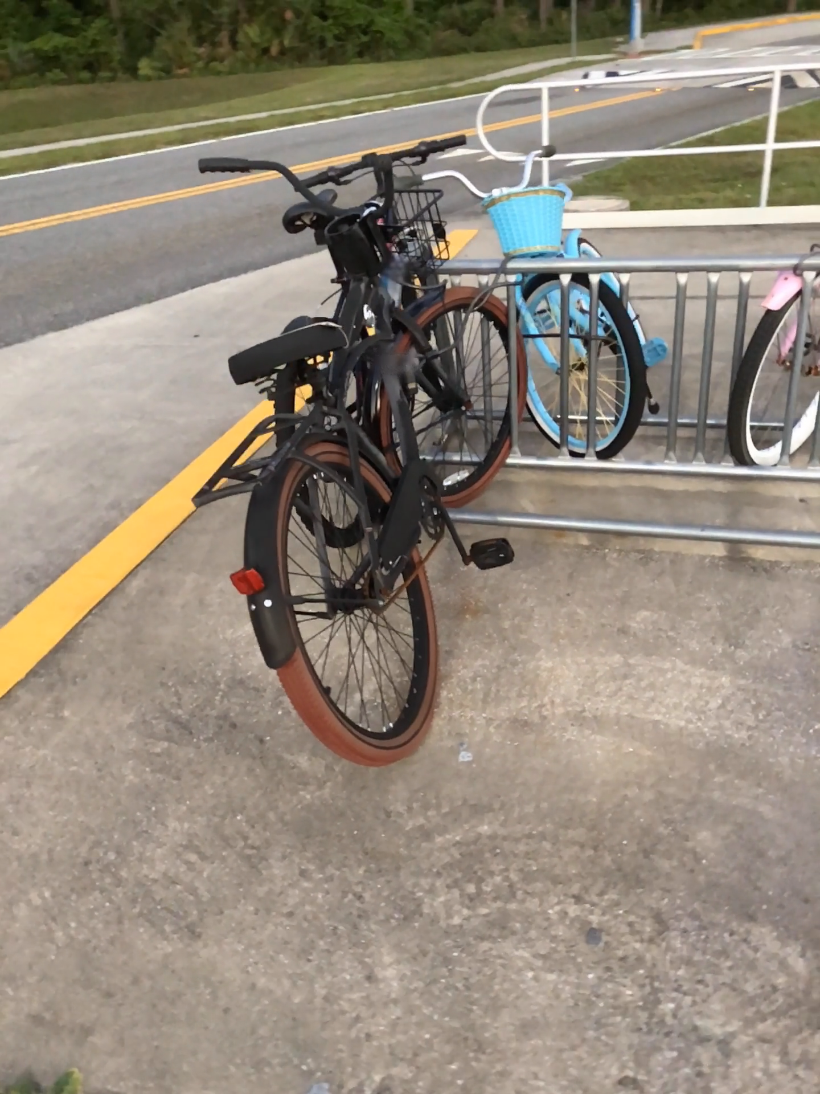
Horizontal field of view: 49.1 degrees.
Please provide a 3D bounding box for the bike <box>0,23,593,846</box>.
[{"bbox_3d":[-0.070,-0.440,2.175,0.829,1.117,1.731,3,36,14],"label":"bike"}]
